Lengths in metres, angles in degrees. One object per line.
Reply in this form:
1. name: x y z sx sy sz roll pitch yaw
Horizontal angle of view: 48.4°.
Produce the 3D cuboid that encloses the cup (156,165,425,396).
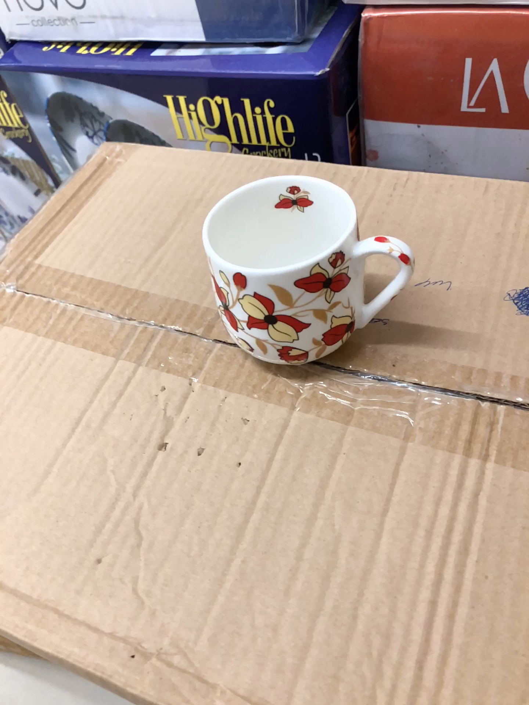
1. cup: 0.015 -0.033 0.252 0.090 0.060 0.060 13 53 22
